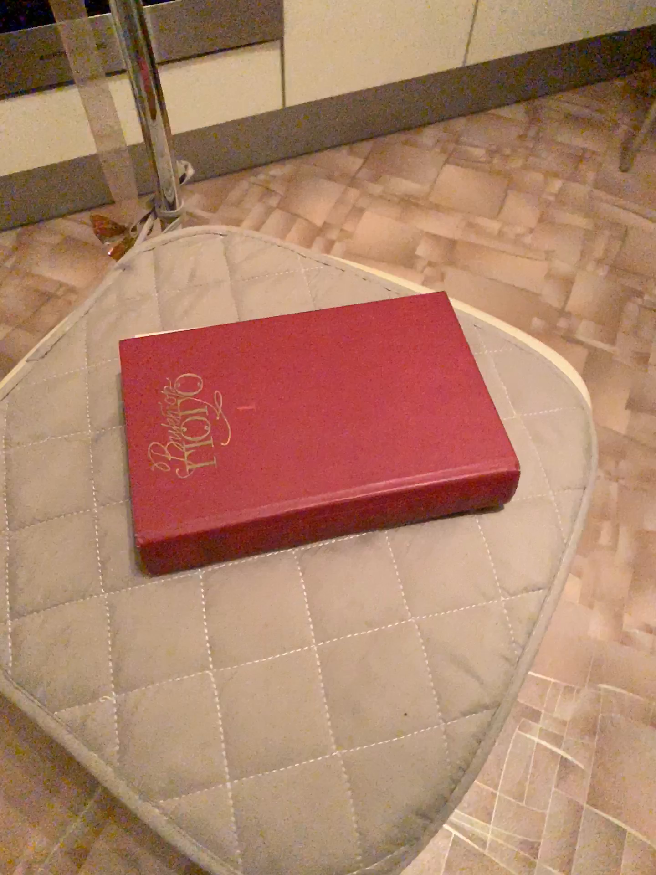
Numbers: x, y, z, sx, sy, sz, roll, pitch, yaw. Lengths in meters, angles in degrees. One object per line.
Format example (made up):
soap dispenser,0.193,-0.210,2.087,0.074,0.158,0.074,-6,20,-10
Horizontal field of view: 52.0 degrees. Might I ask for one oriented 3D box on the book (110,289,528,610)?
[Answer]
book,-0.012,0.001,0.388,0.200,0.060,0.141,-10,60,-8
